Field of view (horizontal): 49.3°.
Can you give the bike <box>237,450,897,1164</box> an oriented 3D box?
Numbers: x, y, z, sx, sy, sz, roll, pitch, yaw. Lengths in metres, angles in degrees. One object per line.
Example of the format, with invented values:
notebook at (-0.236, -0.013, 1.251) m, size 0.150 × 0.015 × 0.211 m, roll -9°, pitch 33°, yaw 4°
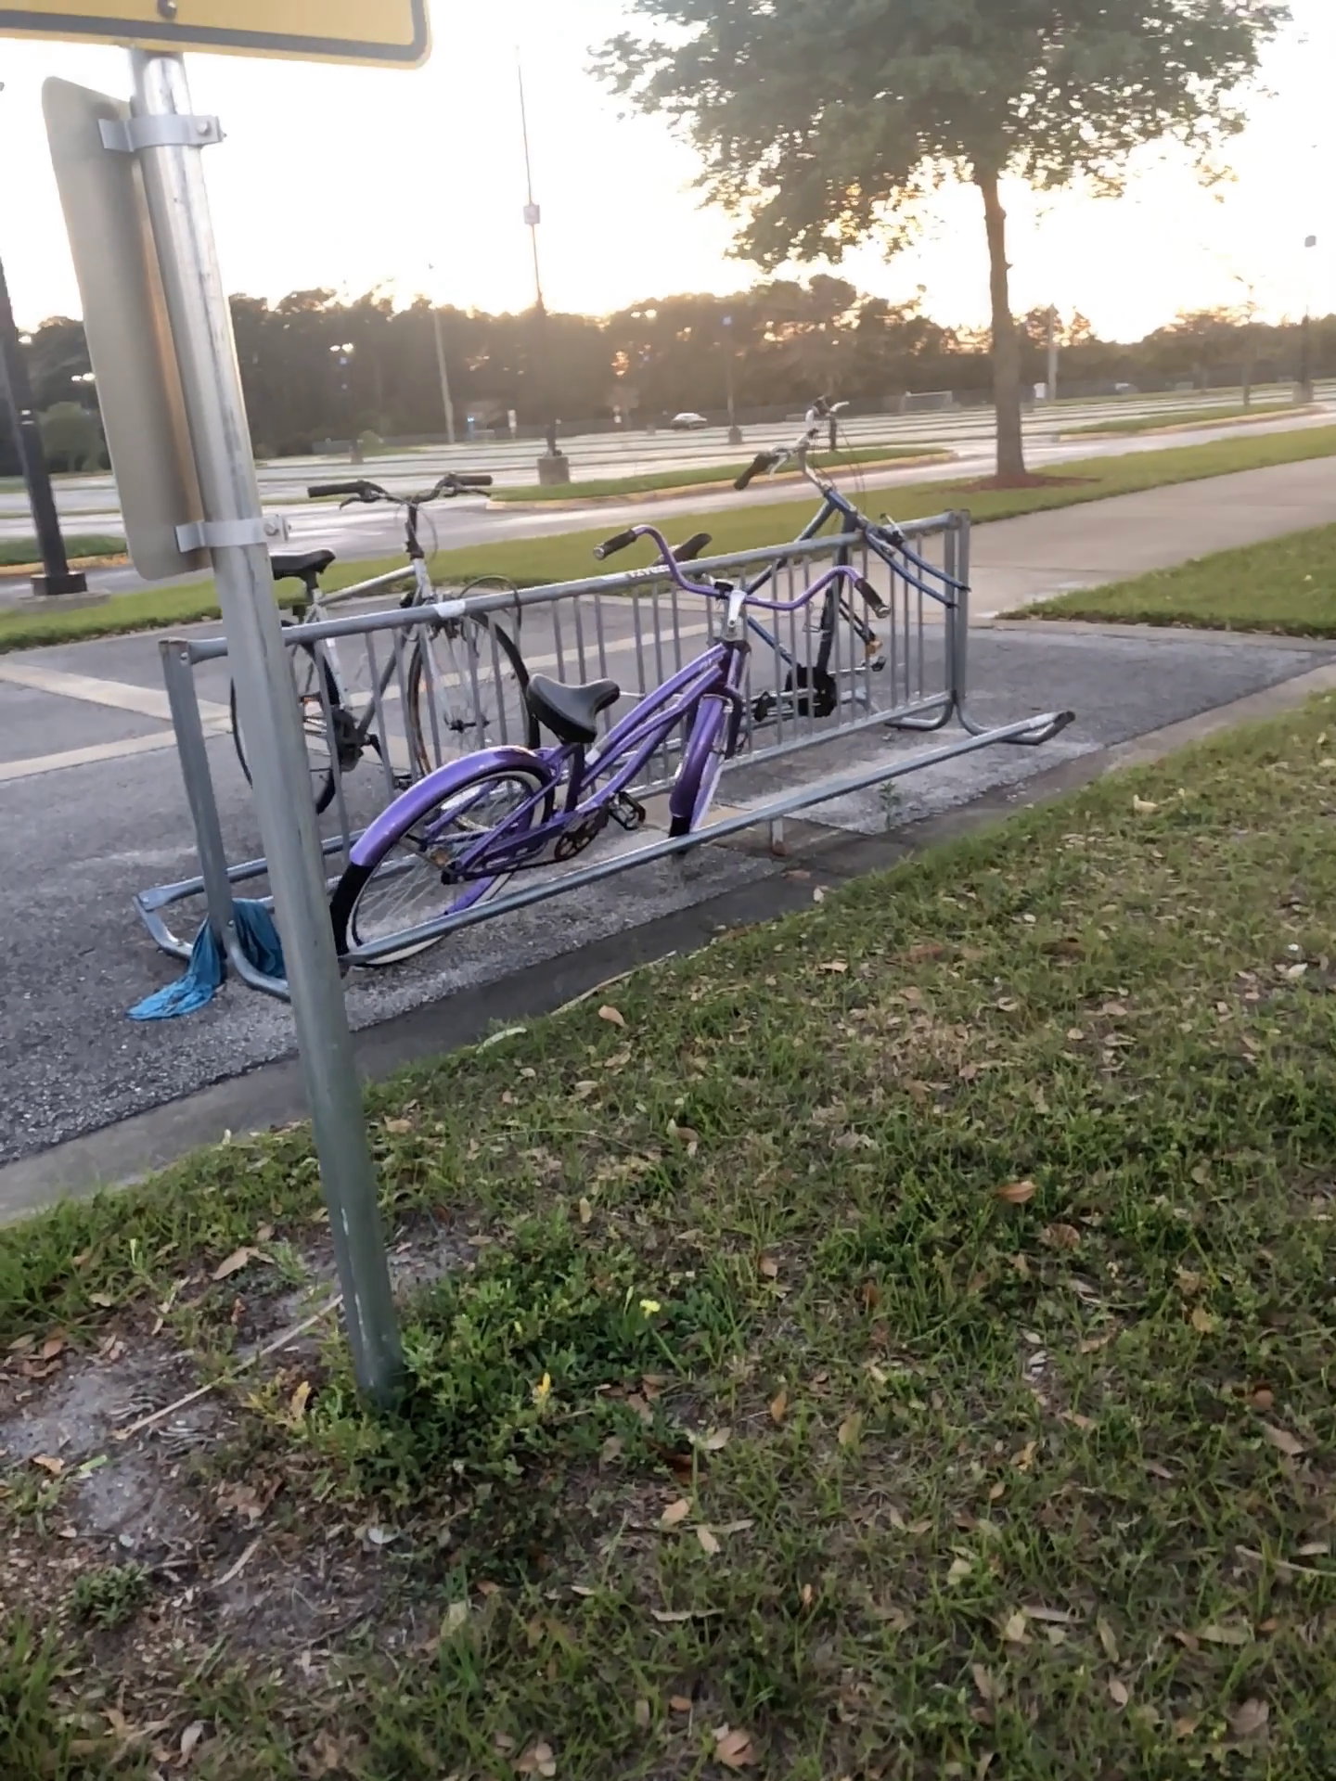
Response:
bike at (-0.142, -0.385, 3.705) m, size 0.850 × 1.117 × 1.707 m, roll 8°, pitch 25°, yaw 35°
